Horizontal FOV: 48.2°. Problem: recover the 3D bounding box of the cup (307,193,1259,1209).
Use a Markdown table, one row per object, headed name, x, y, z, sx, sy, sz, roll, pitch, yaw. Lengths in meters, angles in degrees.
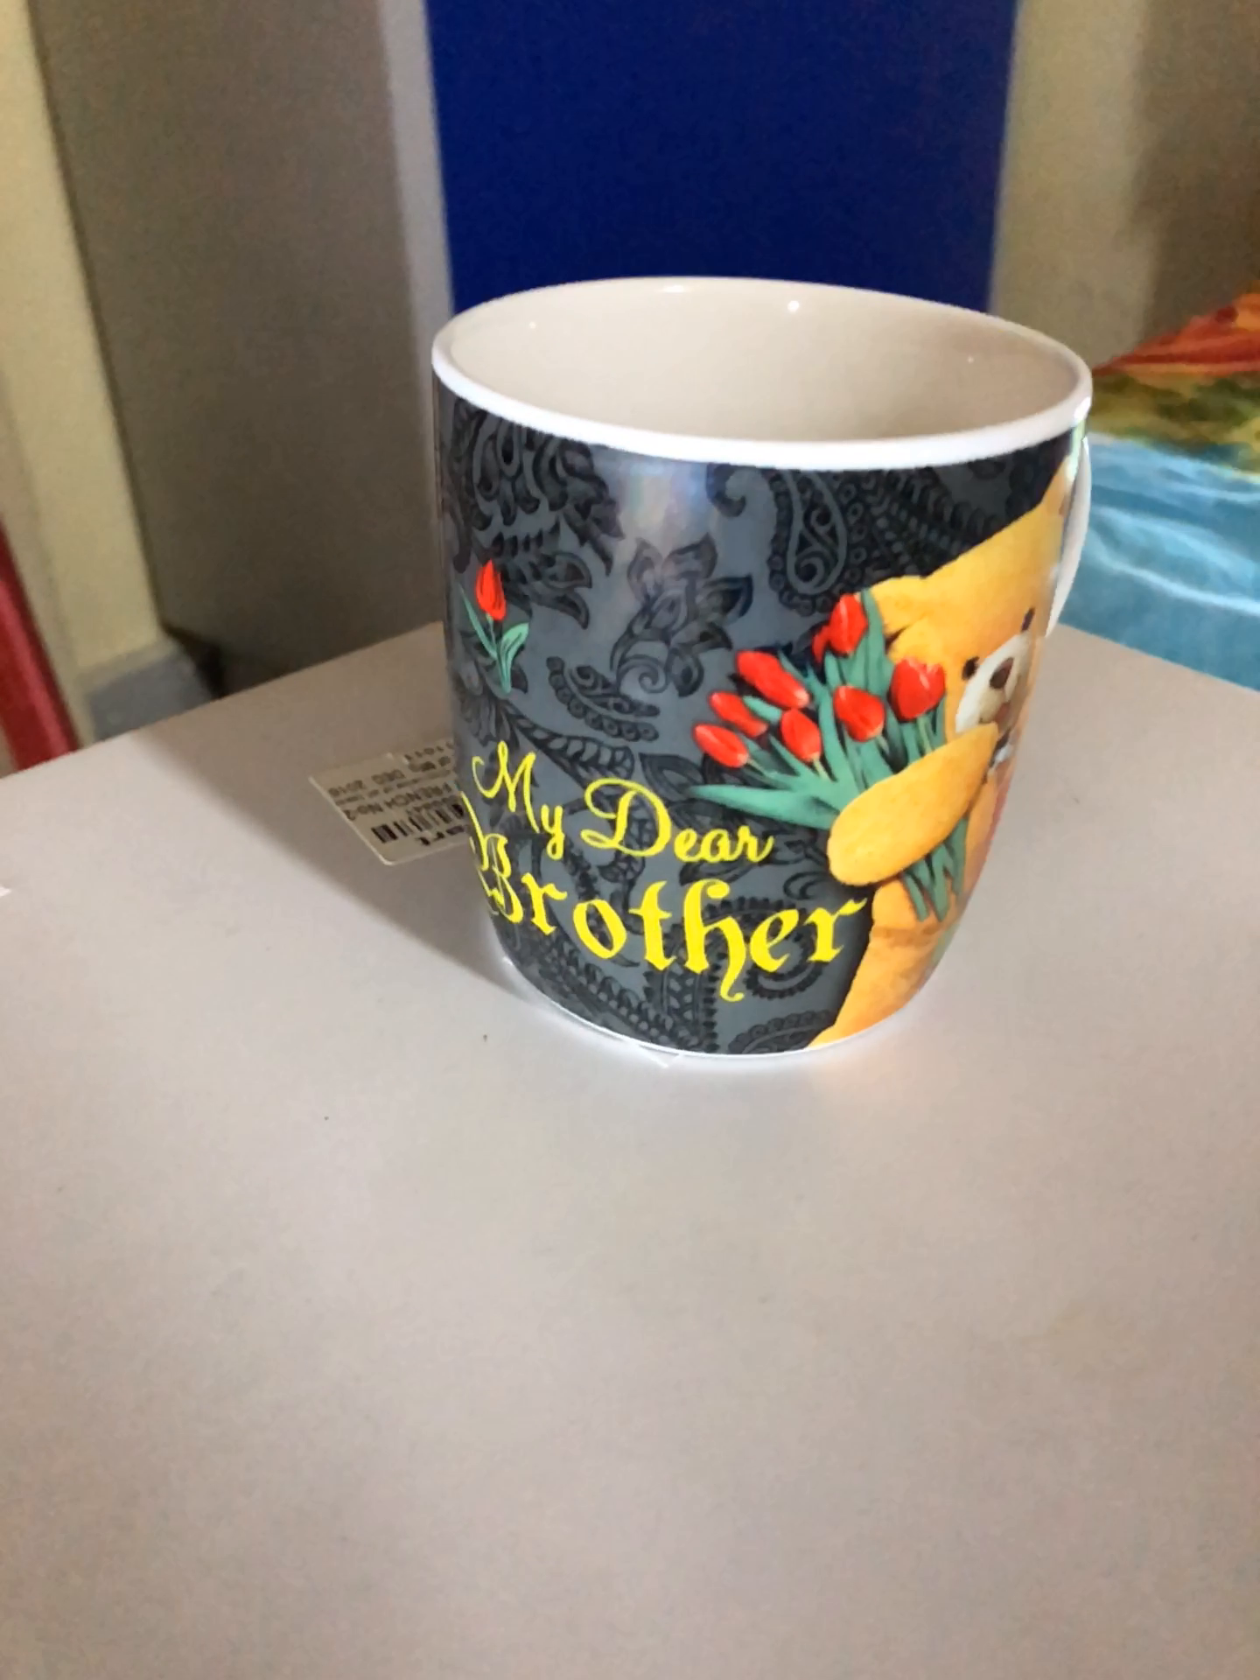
| name | x | y | z | sx | sy | sz | roll | pitch | yaw |
| --- | --- | --- | --- | --- | --- | --- | --- | --- | --- |
| cup | 0.035 | -0.035 | 0.216 | 0.131 | 0.099 | 0.080 | -26 | 39 | -34 |
